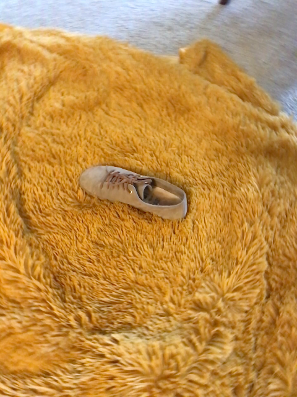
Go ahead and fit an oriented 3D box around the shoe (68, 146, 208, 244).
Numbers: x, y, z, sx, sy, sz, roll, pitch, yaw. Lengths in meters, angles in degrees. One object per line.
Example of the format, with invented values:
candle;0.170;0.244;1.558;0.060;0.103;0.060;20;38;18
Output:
shoe;-0.021;-0.009;0.664;0.258;0.070;0.100;20;61;9
